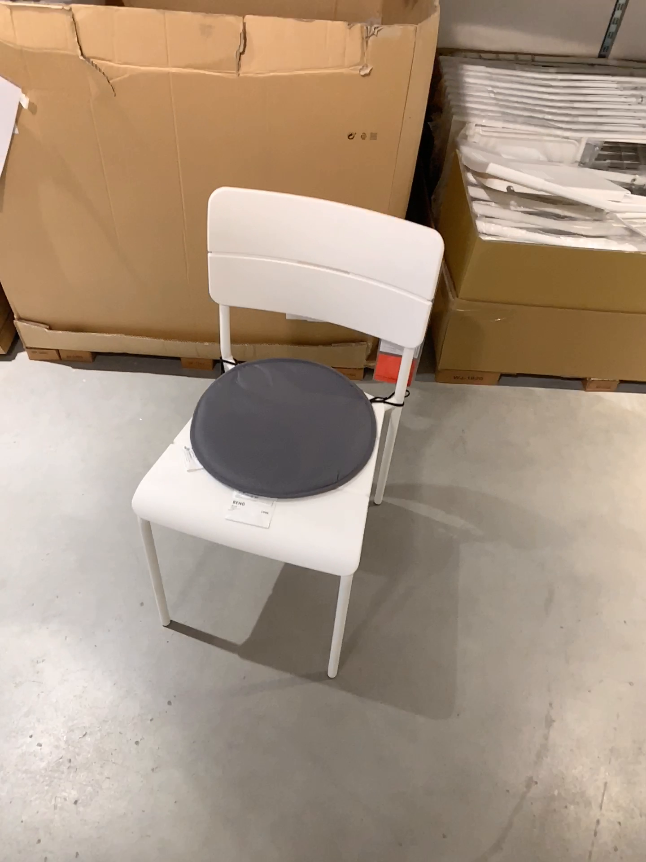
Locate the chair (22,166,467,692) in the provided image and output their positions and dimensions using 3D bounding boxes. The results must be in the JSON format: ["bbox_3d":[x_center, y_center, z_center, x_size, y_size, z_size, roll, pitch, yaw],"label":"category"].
[{"bbox_3d":[-0.086,0.027,1.172,0.460,0.718,0.491,15,50,9],"label":"chair"}]
